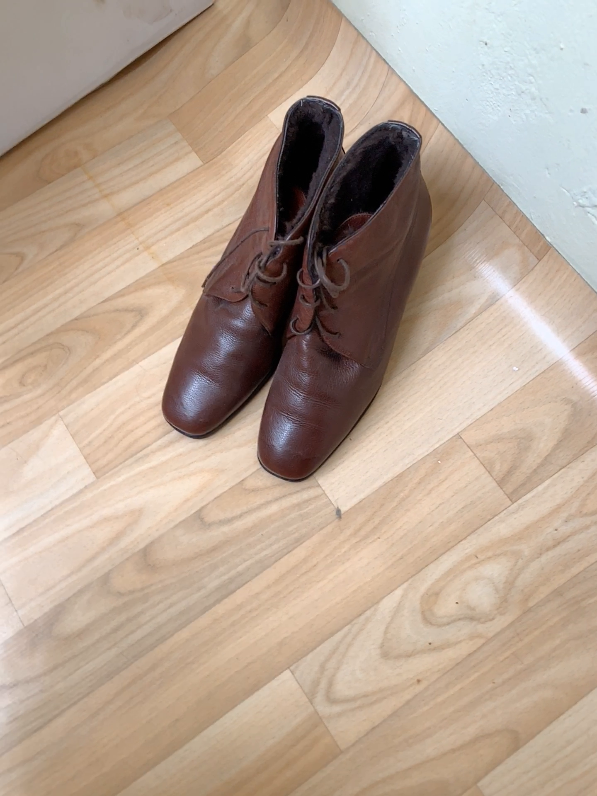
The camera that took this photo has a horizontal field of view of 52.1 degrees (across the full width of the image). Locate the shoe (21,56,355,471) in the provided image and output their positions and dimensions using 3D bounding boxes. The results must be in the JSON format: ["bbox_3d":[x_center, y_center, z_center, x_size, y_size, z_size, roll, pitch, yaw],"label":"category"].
[{"bbox_3d":[-0.053,-0.076,0.413,0.080,0.150,0.220,29,79,11],"label":"shoe"}]

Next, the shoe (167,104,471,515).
[{"bbox_3d":[0.020,-0.045,0.410,0.080,0.150,0.220,25,78,10],"label":"shoe"}]
